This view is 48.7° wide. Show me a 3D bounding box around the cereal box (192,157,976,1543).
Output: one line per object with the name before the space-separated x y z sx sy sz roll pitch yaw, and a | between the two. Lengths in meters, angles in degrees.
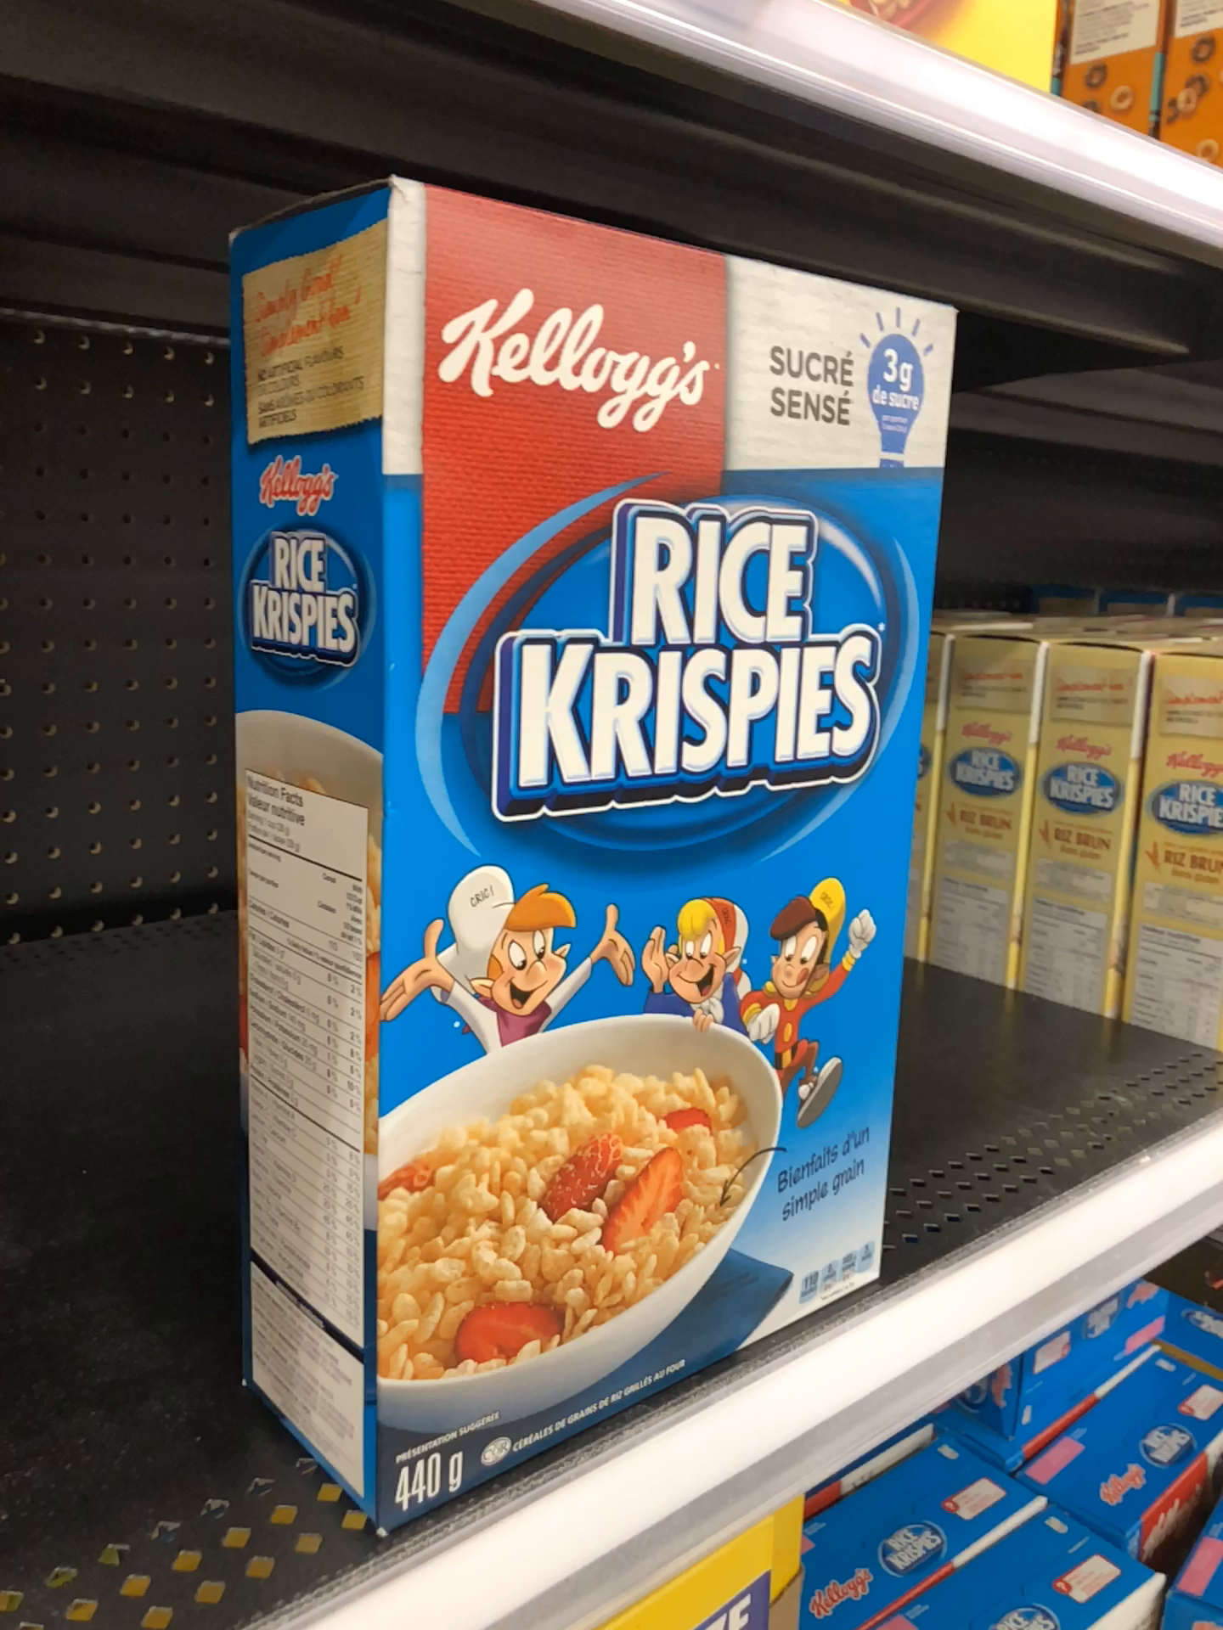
cereal box | -0.002 0.004 0.380 0.200 0.299 0.080 -7 13 -40
